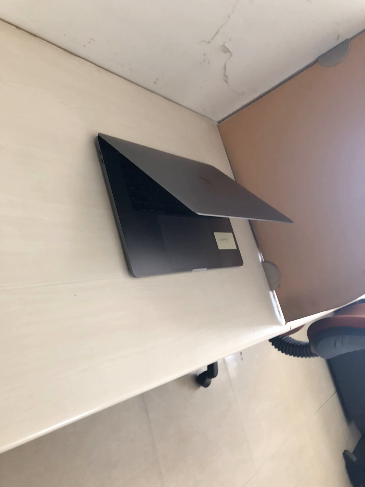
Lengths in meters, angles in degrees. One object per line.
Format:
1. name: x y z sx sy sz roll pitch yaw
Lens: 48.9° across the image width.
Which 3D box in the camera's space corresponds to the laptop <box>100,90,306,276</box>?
1. laptop: 0.053 -0.084 0.702 0.331 0.133 0.233 1 68 -54
